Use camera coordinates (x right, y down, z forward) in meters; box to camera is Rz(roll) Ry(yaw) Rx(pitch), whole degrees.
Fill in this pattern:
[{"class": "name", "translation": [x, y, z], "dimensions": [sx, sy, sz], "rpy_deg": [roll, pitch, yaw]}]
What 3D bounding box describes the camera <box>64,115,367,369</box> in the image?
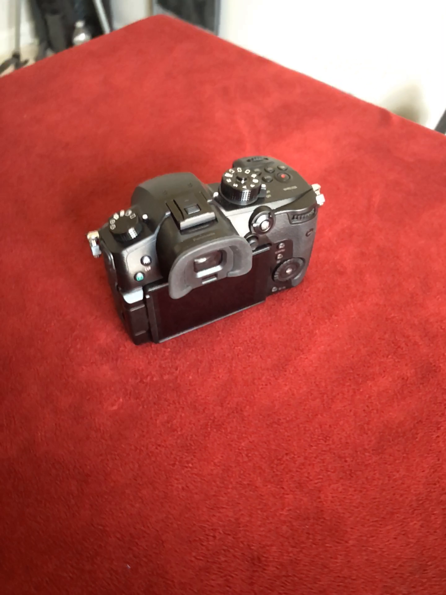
[{"class": "camera", "translation": [-0.006, -0.038, 0.314], "dimensions": [0.148, 0.087, 0.086], "rpy_deg": [-19, 53, -16]}]
